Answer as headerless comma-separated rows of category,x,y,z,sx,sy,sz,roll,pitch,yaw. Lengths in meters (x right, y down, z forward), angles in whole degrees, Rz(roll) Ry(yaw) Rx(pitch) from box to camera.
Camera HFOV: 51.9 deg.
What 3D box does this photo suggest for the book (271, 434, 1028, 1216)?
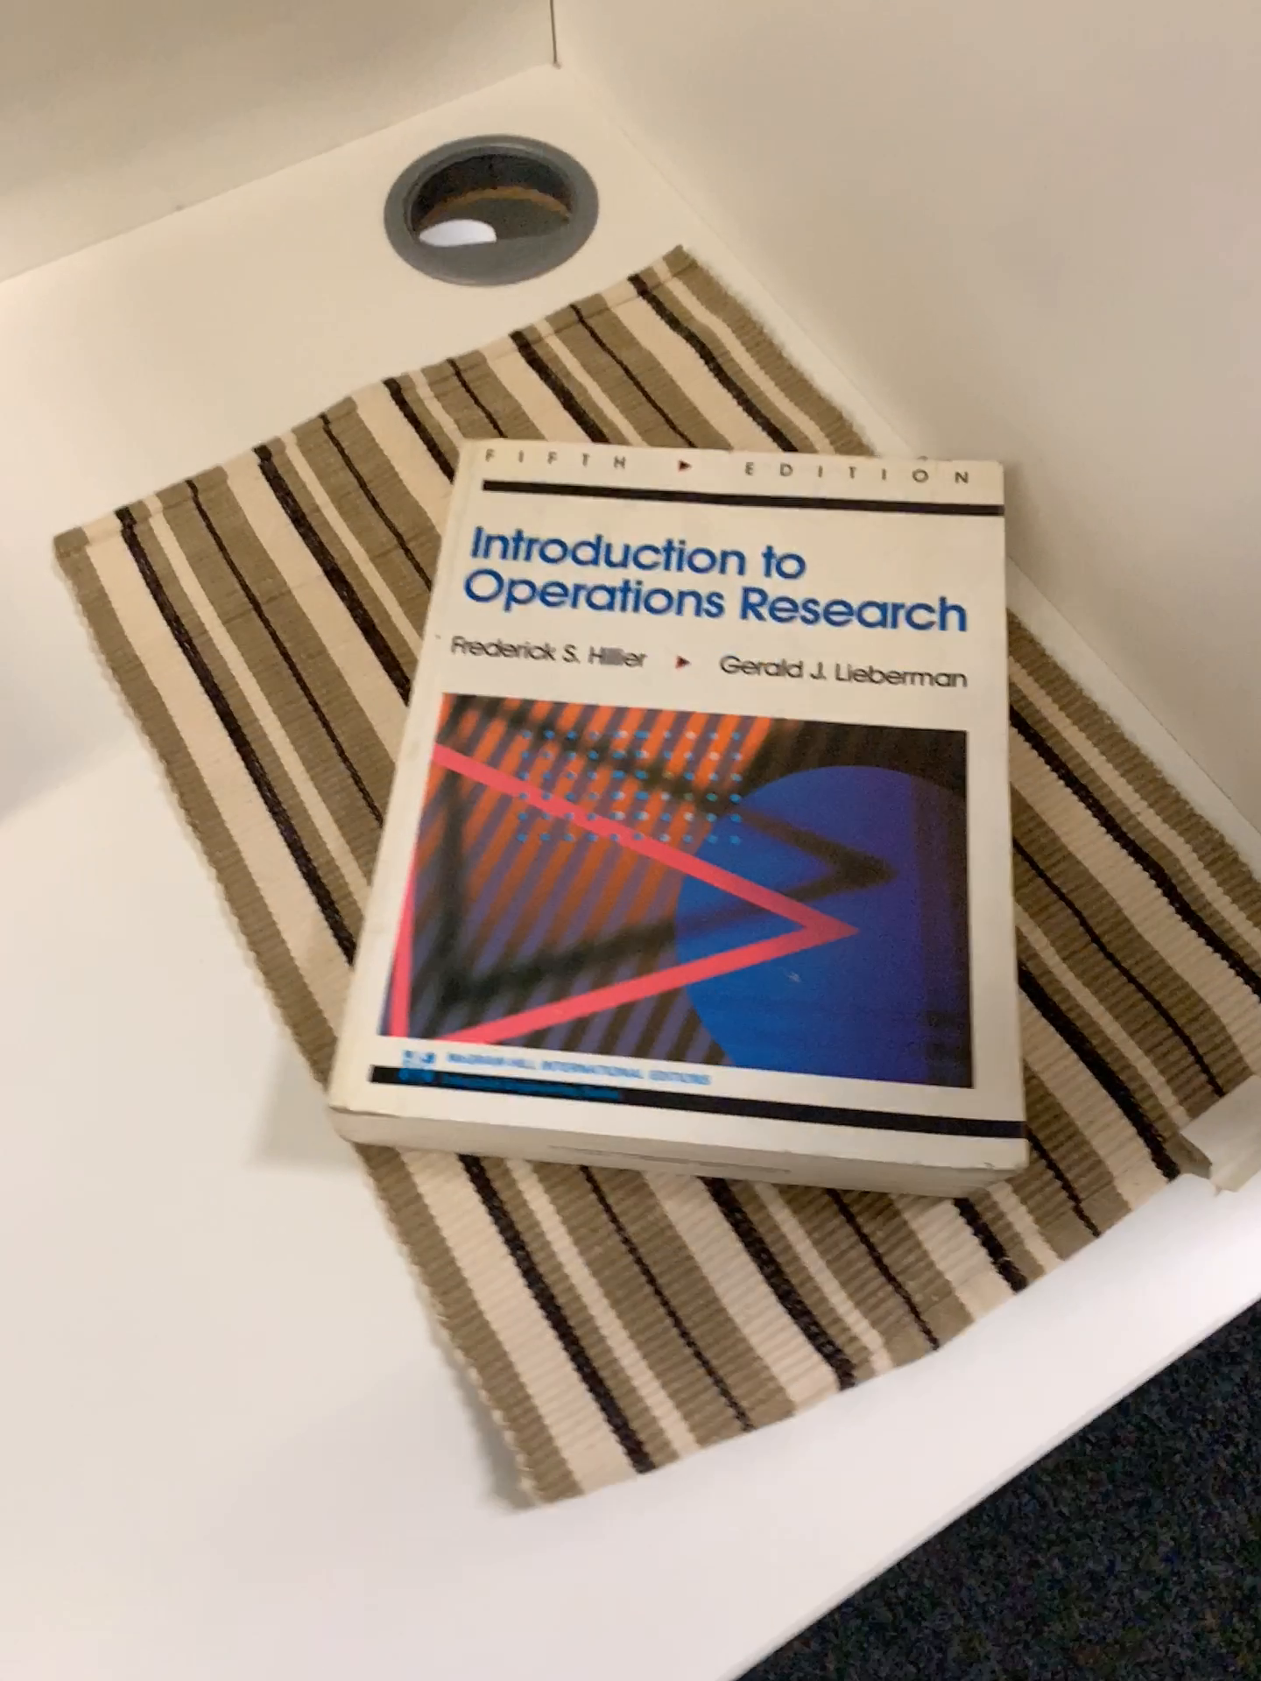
book,0.015,-0.015,0.409,0.196,0.053,0.235,4,64,4
